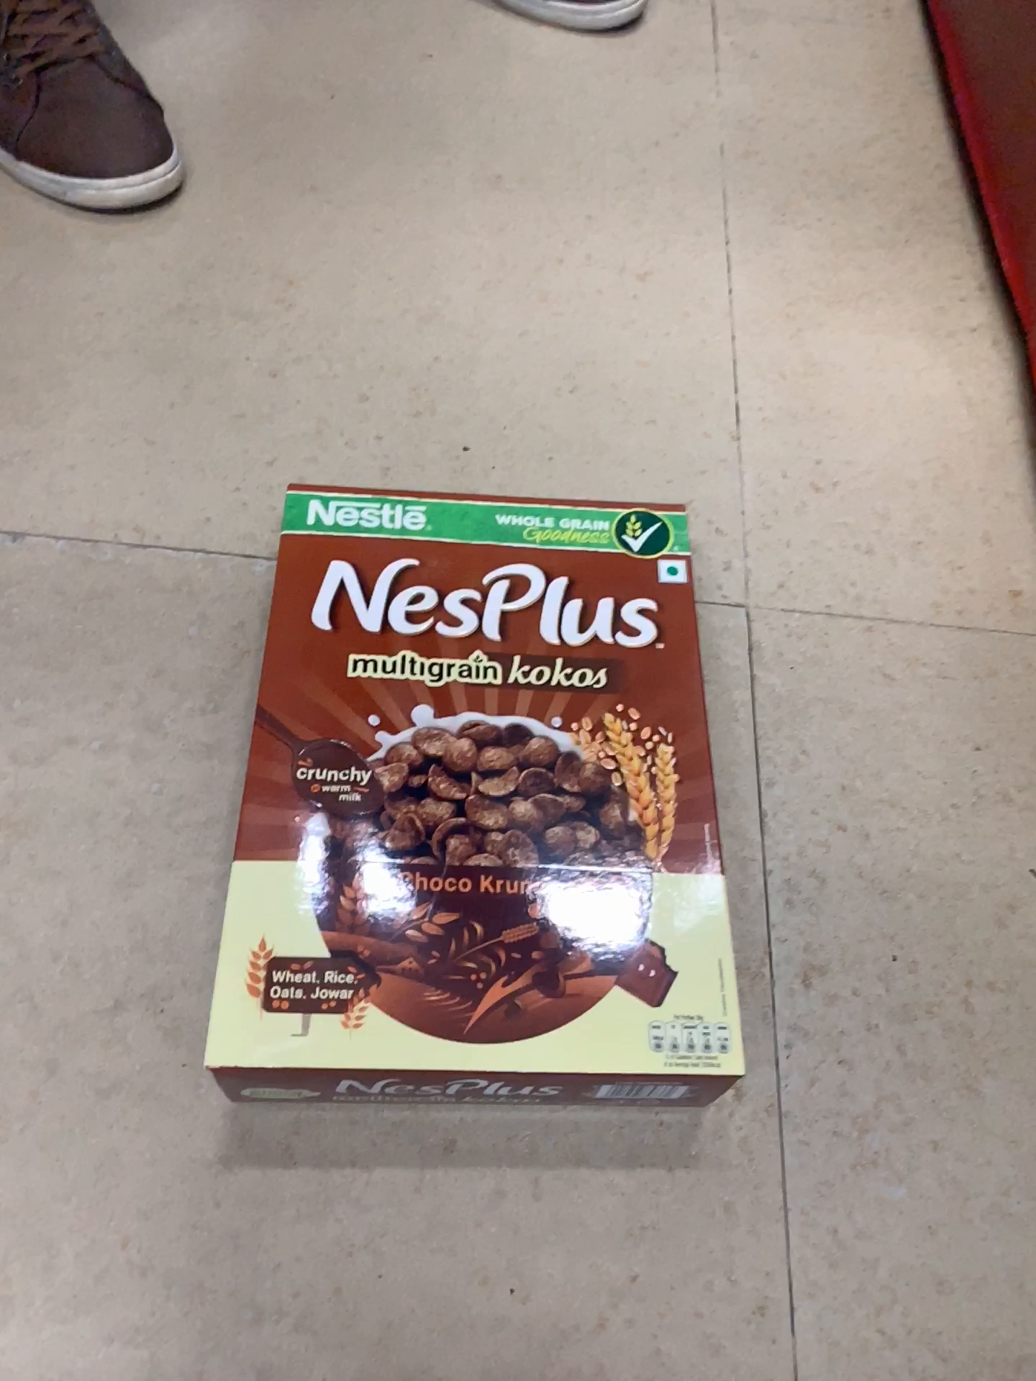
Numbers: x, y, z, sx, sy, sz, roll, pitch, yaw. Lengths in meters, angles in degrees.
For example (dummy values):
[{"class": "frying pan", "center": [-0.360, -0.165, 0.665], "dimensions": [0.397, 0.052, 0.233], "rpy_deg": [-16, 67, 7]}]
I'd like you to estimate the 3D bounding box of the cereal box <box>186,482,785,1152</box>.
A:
[{"class": "cereal box", "center": [-0.012, 0.050, 0.480], "dimensions": [0.210, 0.090, 0.280], "rpy_deg": [3, 60, -4]}]
